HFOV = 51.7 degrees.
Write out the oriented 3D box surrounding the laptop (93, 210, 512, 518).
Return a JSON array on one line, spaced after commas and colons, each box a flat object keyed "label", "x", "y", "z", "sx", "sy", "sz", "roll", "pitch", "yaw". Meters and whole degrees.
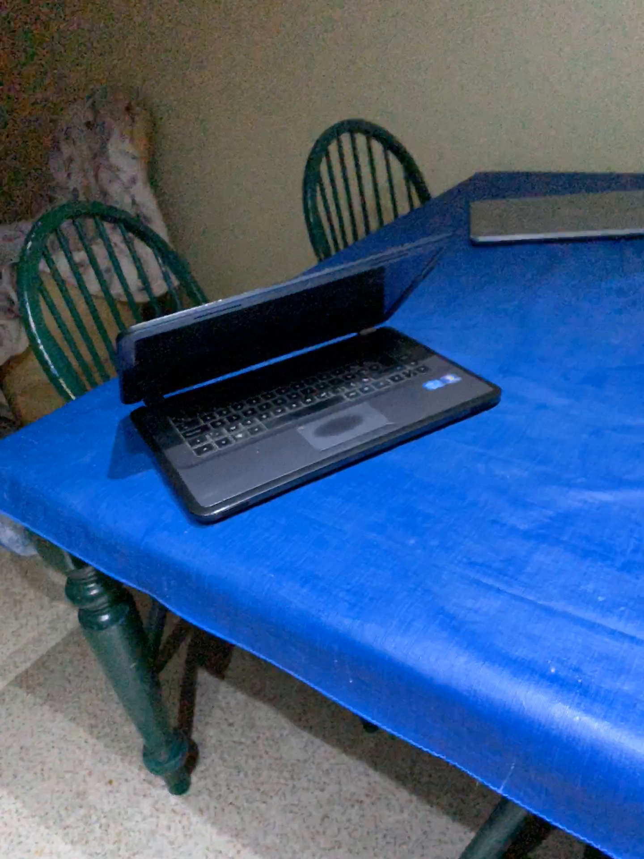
[{"label": "laptop", "x": -0.020, "y": -0.100, "z": 0.716, "sx": 0.361, "sy": 0.160, "sz": 0.245, "roll": -21, "pitch": 33, "yaw": -22}]
